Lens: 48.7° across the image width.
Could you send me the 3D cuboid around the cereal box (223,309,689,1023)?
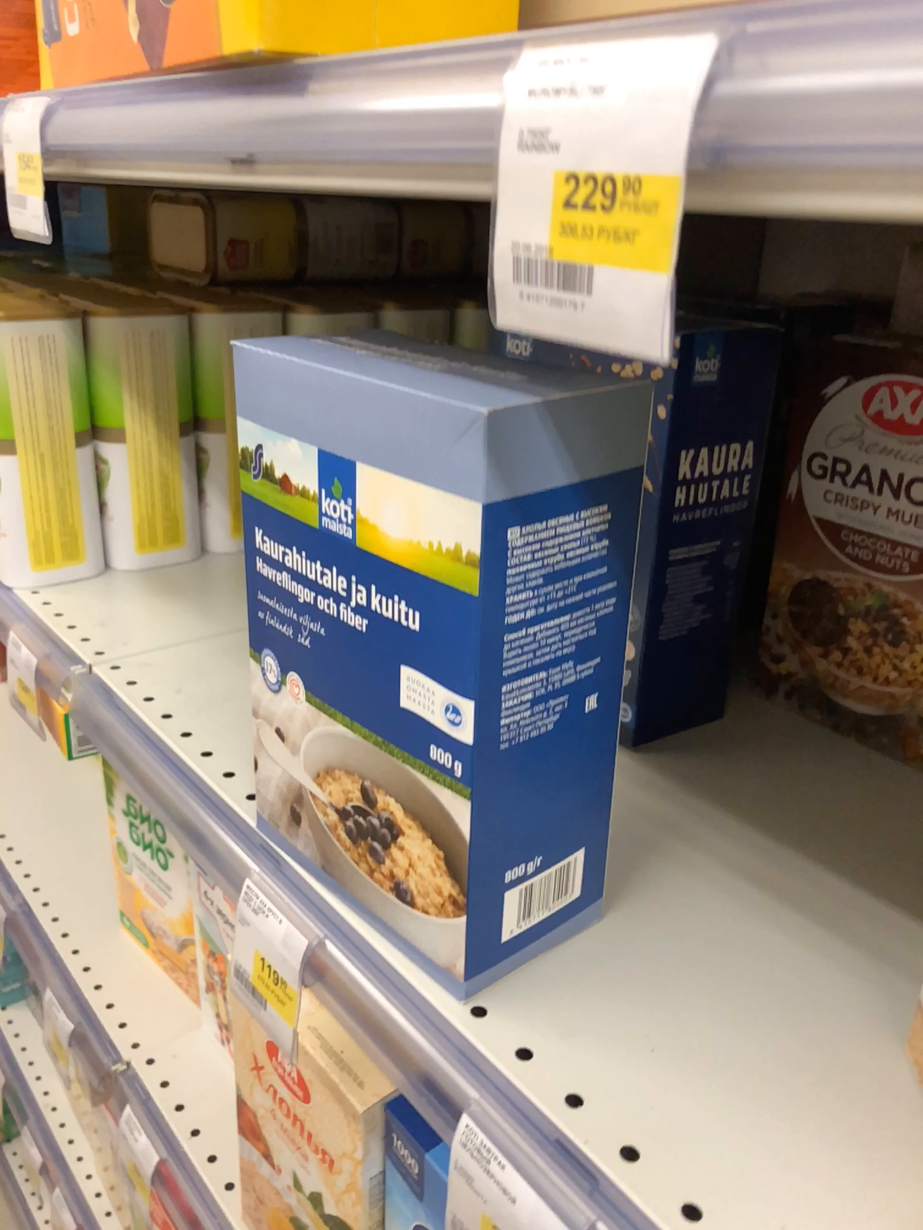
[{"bbox_3d":[-0.013,0.007,0.389,0.080,0.219,0.150,-16,29,-39],"label":"cereal box"}]
